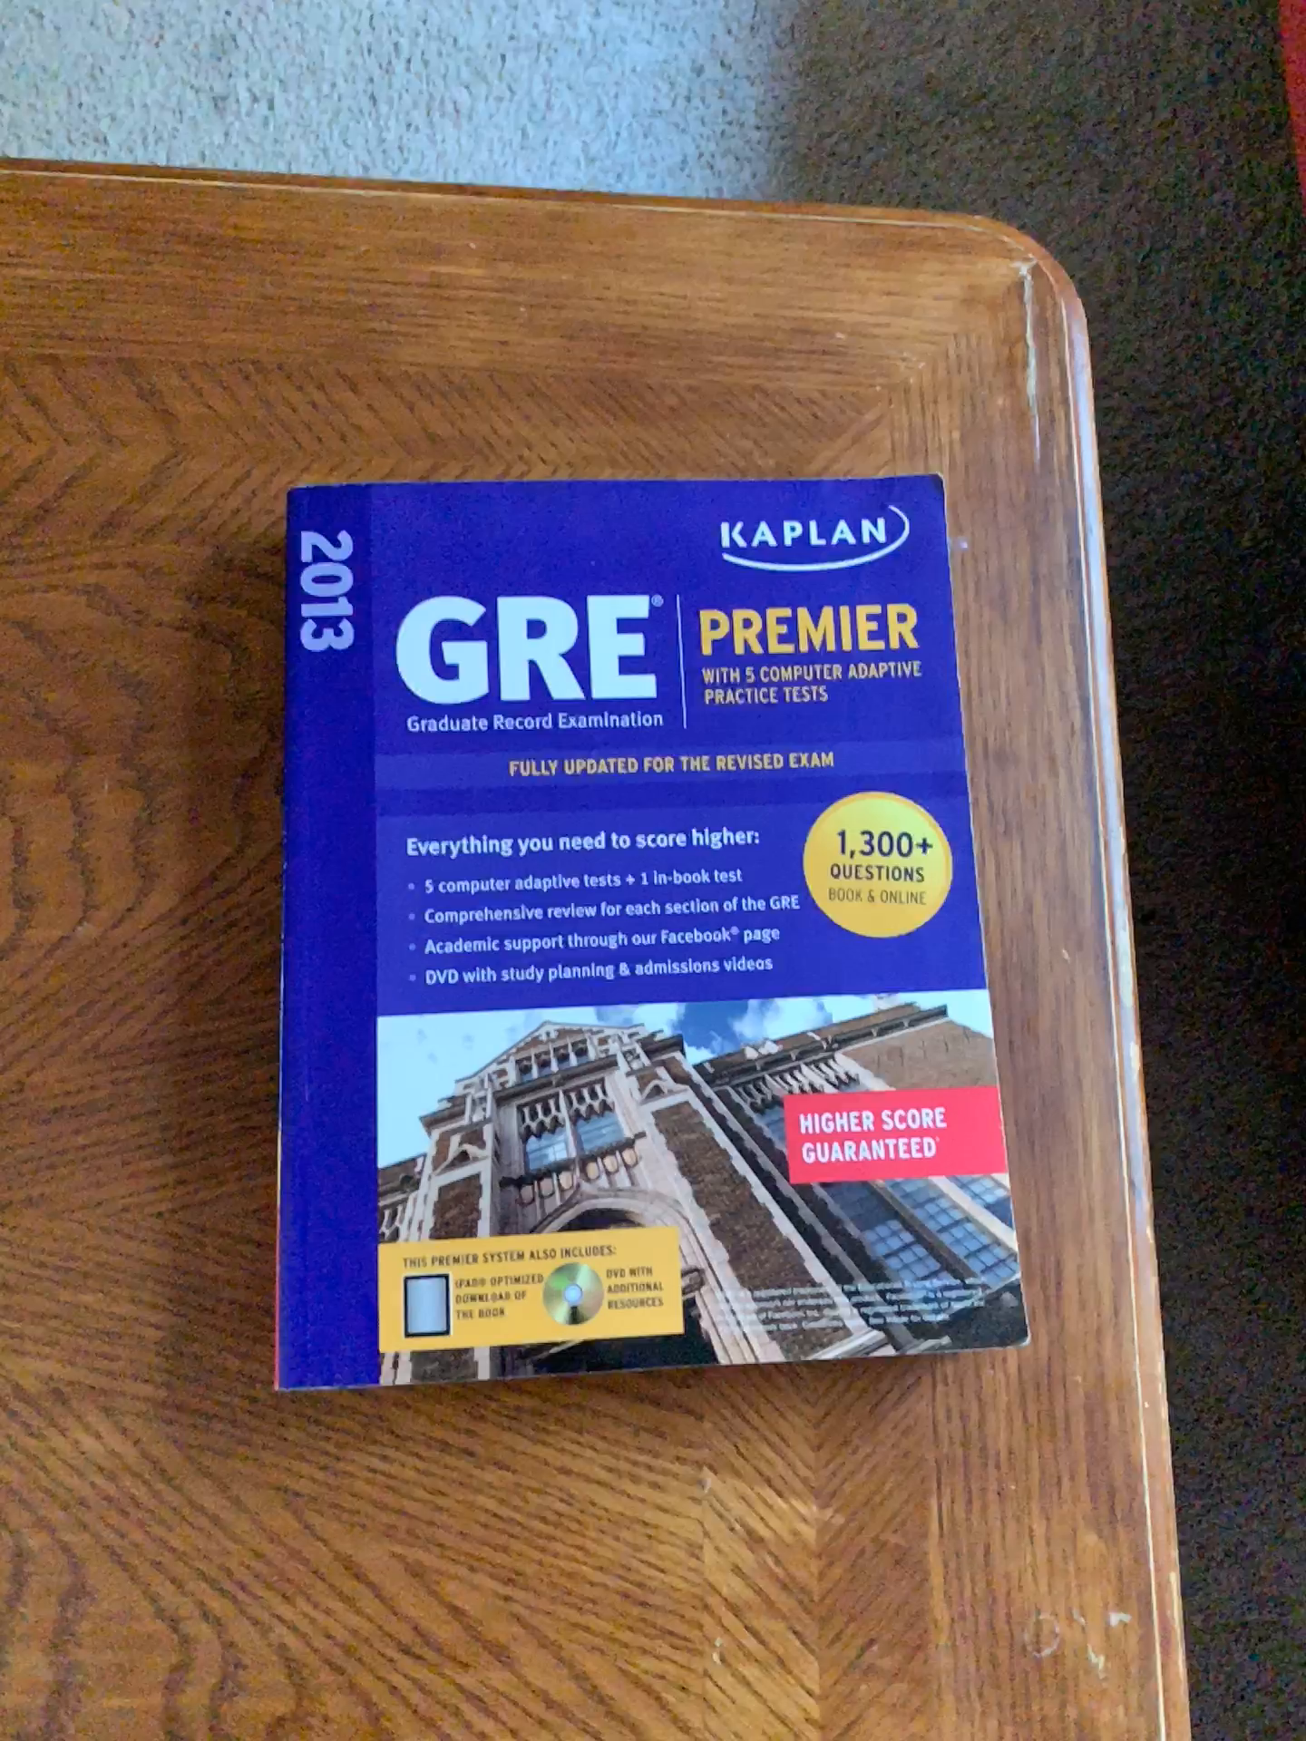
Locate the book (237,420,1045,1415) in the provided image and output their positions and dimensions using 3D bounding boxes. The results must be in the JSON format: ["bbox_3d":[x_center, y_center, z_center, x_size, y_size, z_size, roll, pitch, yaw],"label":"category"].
[{"bbox_3d":[-0.009,0.006,0.423,0.220,0.060,0.290,-2,78,-5],"label":"book"}]
